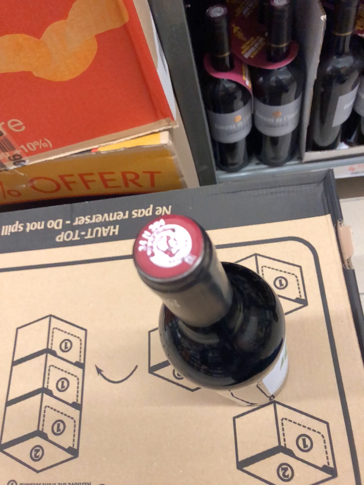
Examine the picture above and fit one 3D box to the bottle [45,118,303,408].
[{"bbox_3d":[0.033,0.055,0.271,0.080,0.299,0.090,0,67,14],"label":"bottle"}]
